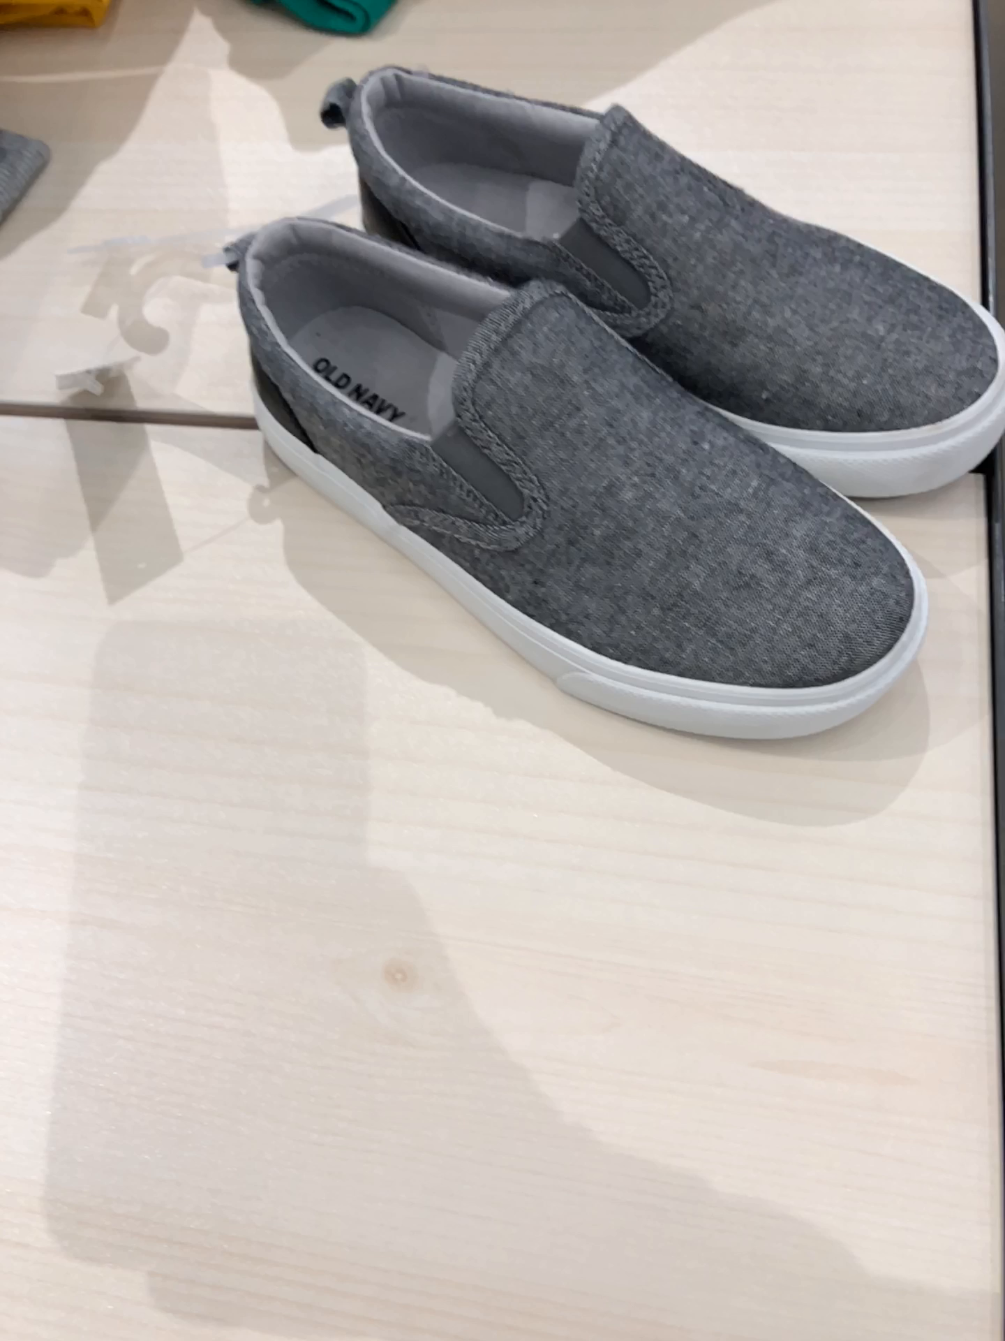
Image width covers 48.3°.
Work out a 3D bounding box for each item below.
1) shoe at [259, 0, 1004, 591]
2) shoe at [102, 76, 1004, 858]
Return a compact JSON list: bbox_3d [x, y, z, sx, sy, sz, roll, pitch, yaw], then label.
[{"bbox_3d":[0.051,-0.124,0.339,0.210,0.100,0.090,25,70,17],"label":"shoe"},{"bbox_3d":[0.016,-0.056,0.304,0.210,0.100,0.090,31,72,19],"label":"shoe"}]
